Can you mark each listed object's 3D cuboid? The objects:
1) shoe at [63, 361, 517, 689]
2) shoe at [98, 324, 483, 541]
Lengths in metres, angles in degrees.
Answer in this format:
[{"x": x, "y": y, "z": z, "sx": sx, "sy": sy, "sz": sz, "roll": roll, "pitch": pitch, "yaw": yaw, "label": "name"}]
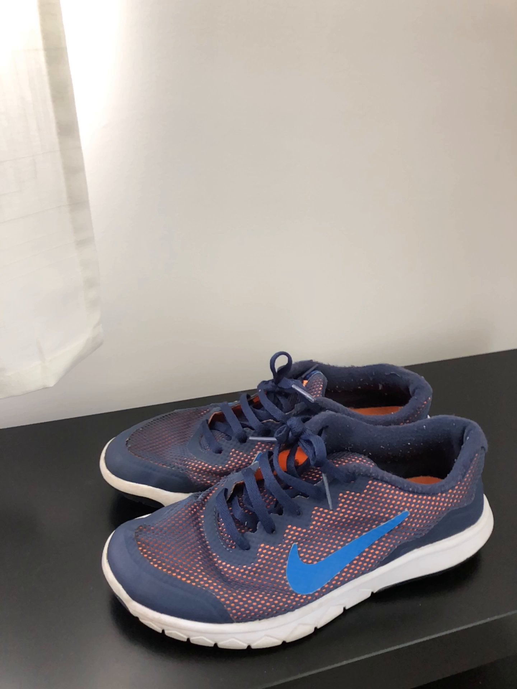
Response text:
[{"x": 0.023, "y": 0.098, "z": 0.358, "sx": 0.260, "sy": 0.089, "sz": 0.121, "roll": -9, "pitch": 31, "yaw": -18, "label": "shoe"}, {"x": 0.017, "y": 0.058, "z": 0.434, "sx": 0.260, "sy": 0.089, "sz": 0.100, "roll": -5, "pitch": 30, "yaw": -13, "label": "shoe"}]
